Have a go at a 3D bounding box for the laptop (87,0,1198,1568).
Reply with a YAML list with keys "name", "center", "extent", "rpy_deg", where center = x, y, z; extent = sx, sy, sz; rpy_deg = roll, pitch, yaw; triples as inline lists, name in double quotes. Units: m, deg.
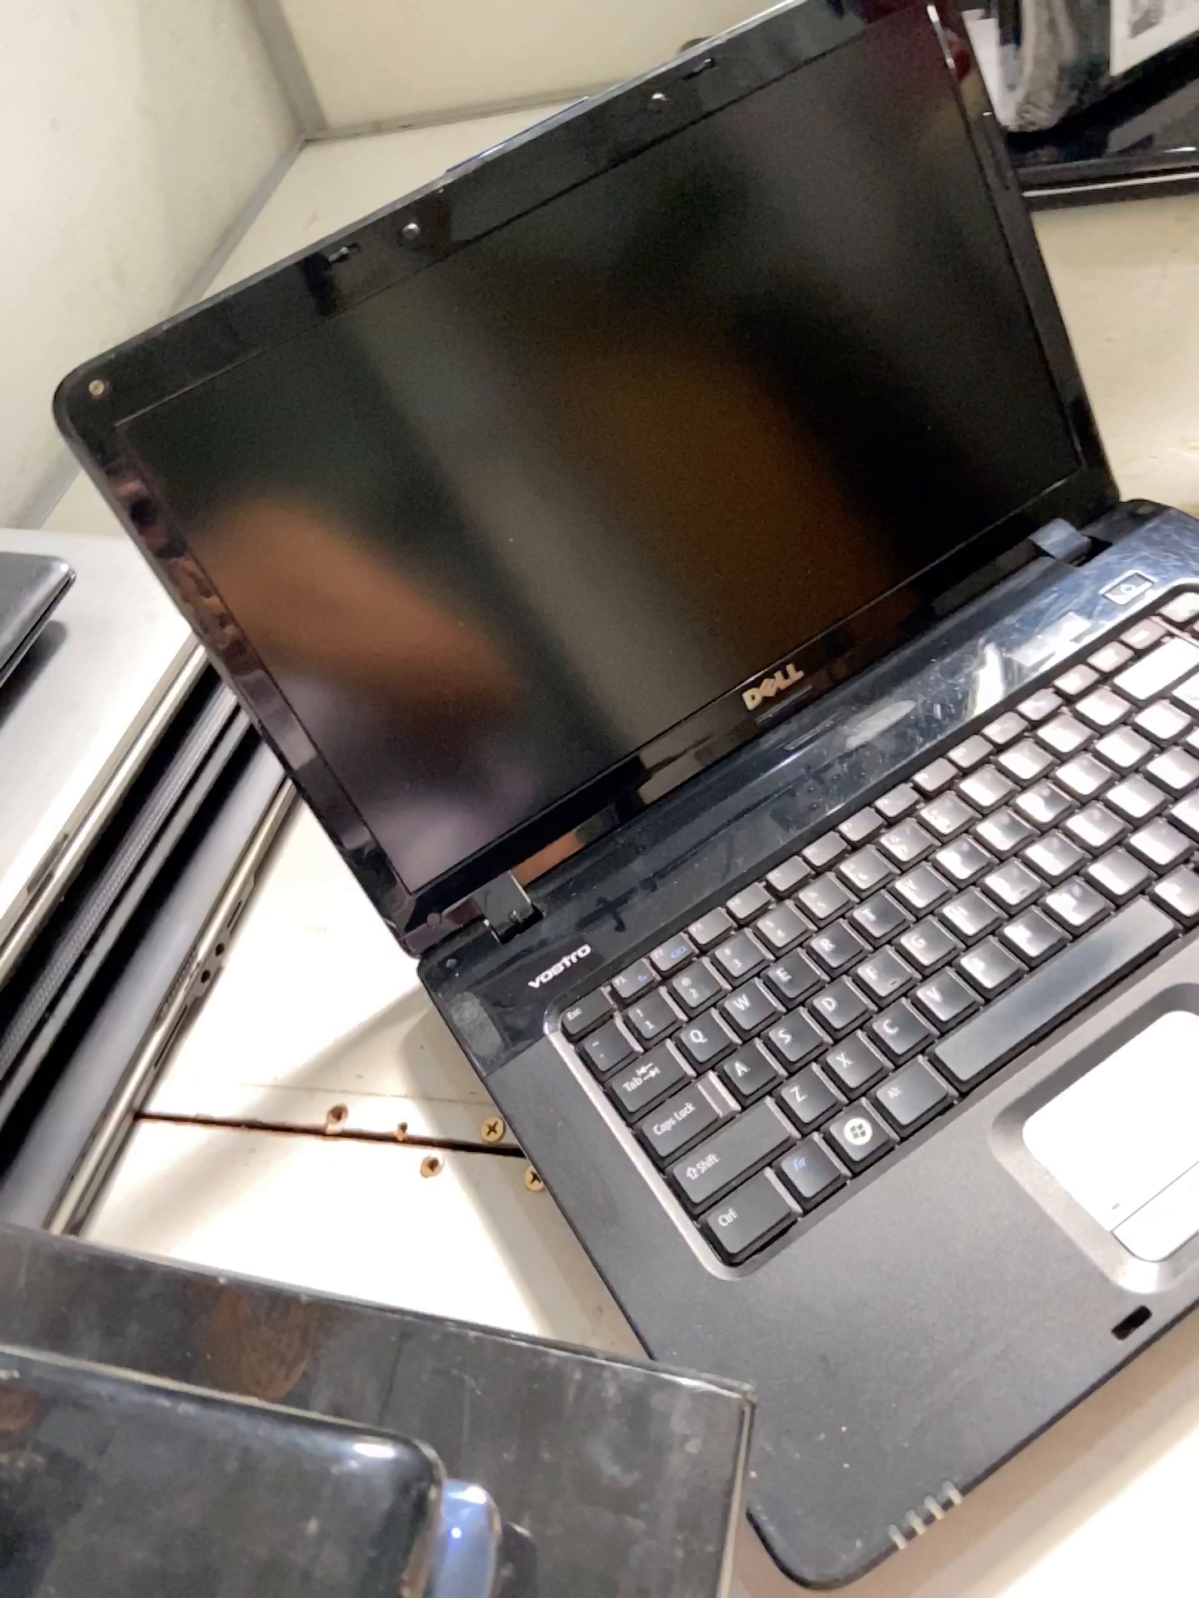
- name: "laptop"
  center: [0.094, -0.064, 0.393]
  extent: [0.365, 0.203, 0.354]
  rpy_deg: [-33, 47, -10]
